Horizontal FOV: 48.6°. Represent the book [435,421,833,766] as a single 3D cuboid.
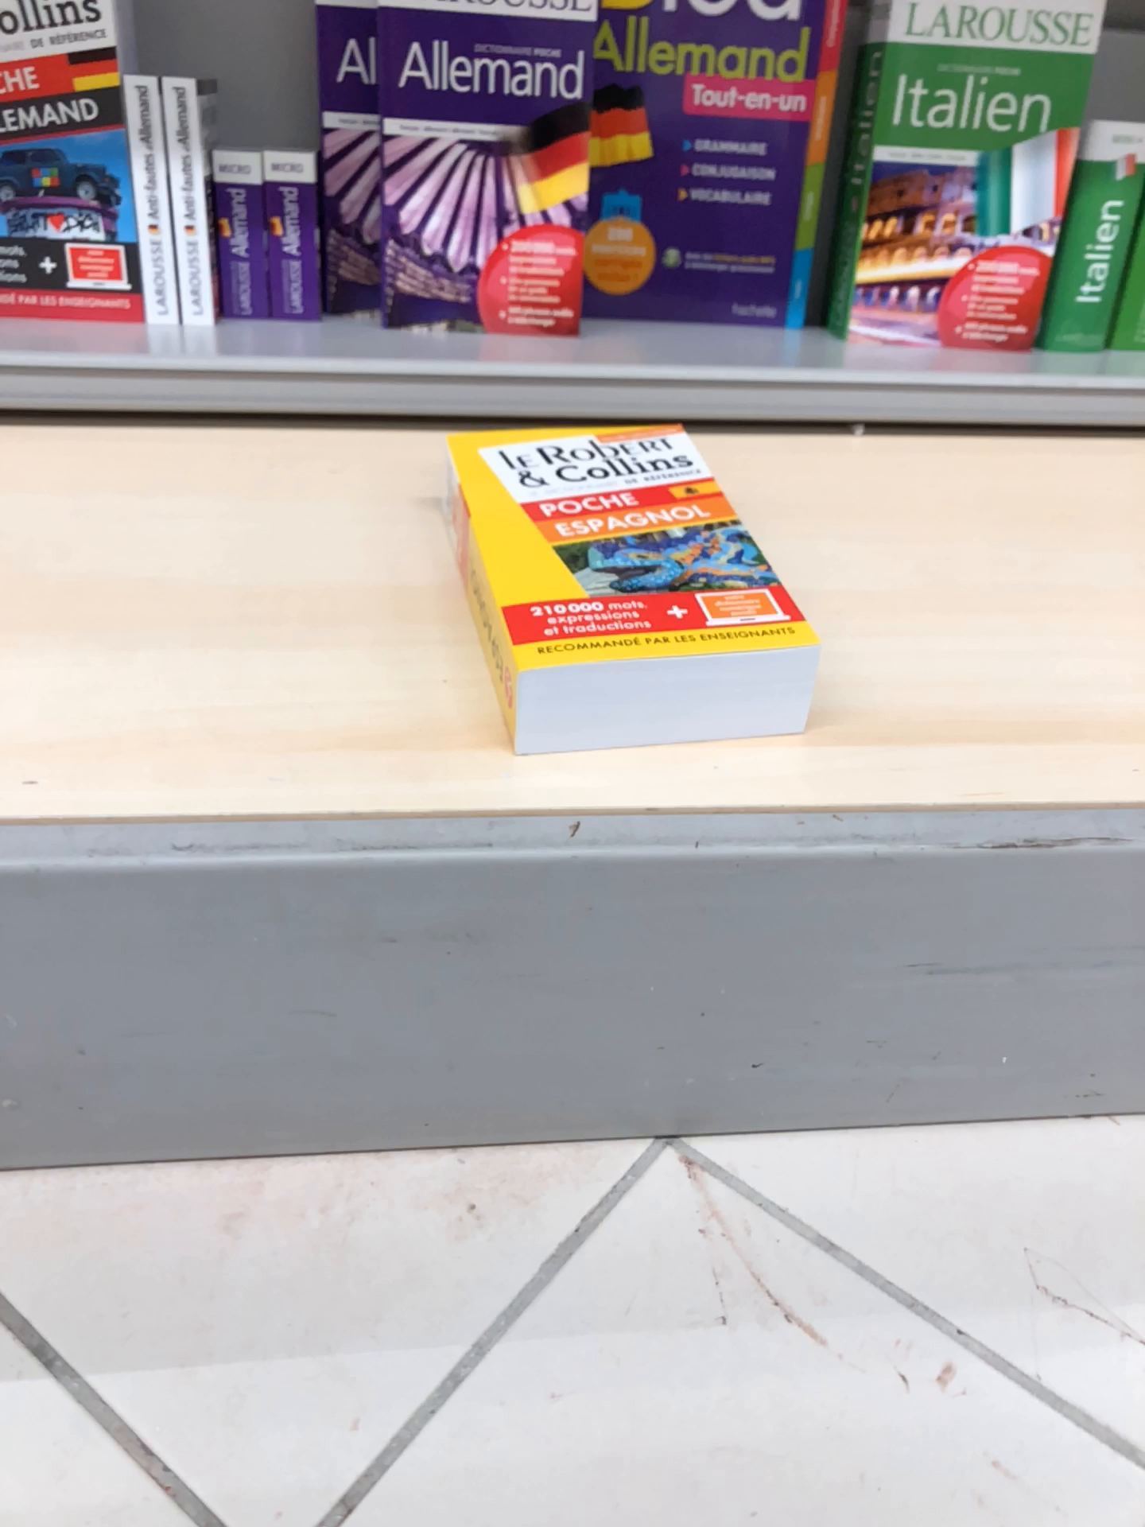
[{"bbox_3d":[0.013,-0.076,0.496,0.110,0.040,0.181,-4,40,-13],"label":"book"}]
